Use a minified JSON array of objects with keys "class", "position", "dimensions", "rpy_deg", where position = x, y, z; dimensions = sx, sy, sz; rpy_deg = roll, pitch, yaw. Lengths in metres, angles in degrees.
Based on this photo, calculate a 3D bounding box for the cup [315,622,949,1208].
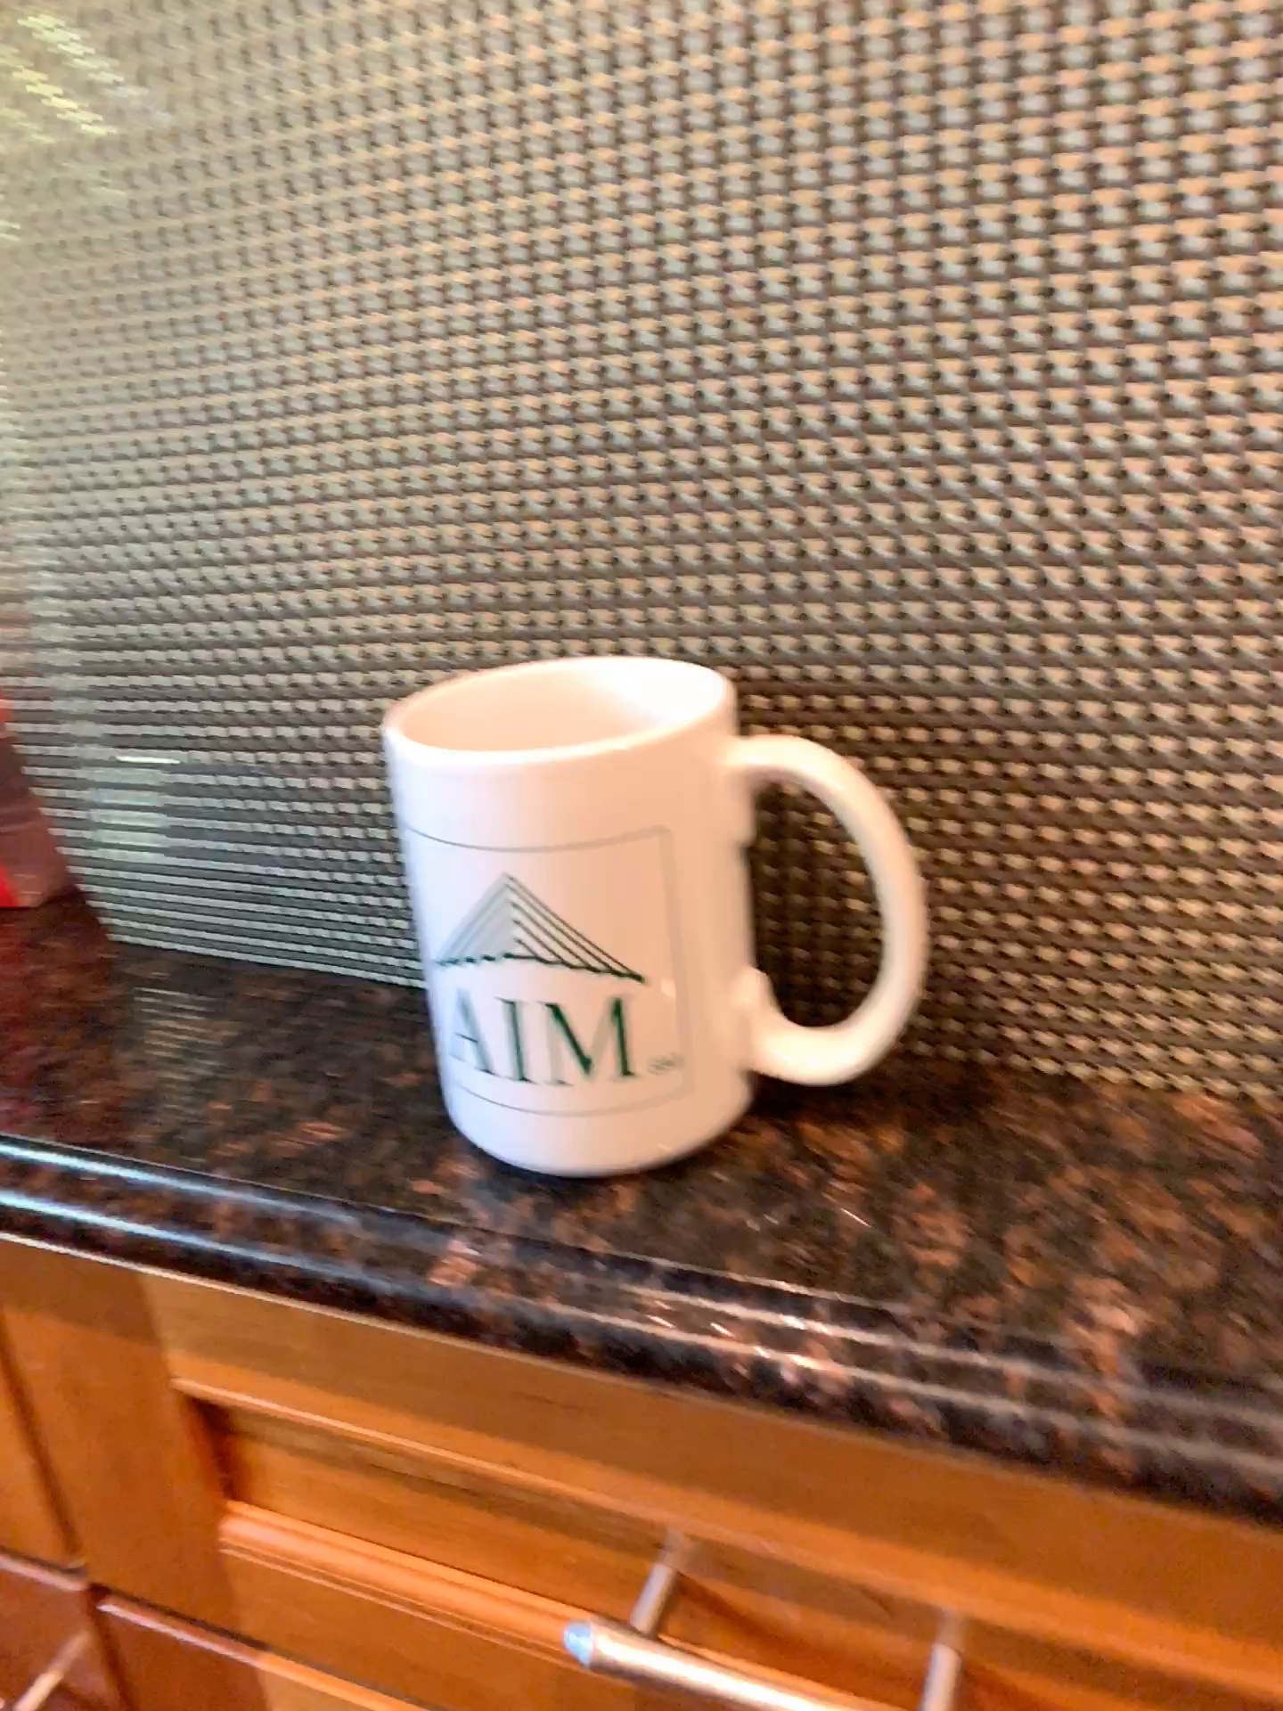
[{"class":"cup","position":[0.008,0.009,0.327],"dimensions":[0.130,0.109,0.090],"rpy_deg":[0,22,14]}]
